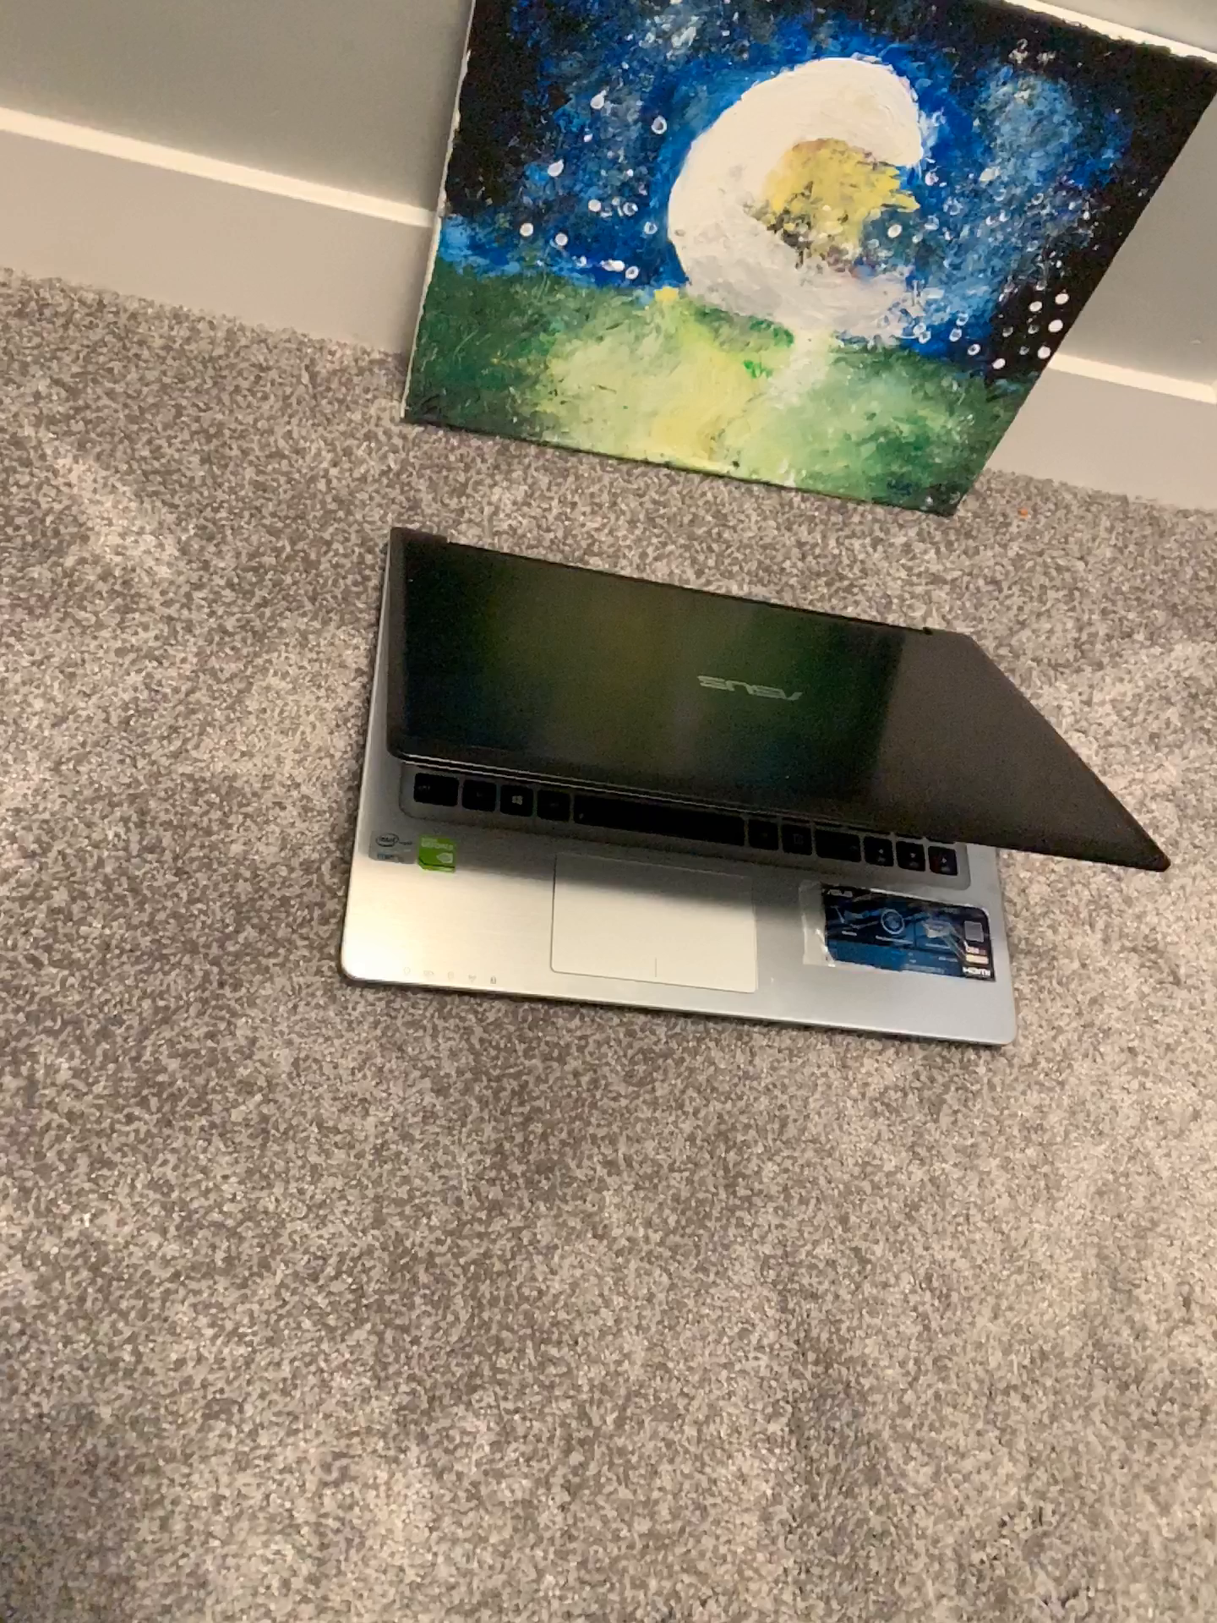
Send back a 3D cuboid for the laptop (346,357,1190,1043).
[{"bbox_3d":[0.068,-0.042,0.614,0.355,0.134,0.253,8,64,-14],"label":"laptop"}]
